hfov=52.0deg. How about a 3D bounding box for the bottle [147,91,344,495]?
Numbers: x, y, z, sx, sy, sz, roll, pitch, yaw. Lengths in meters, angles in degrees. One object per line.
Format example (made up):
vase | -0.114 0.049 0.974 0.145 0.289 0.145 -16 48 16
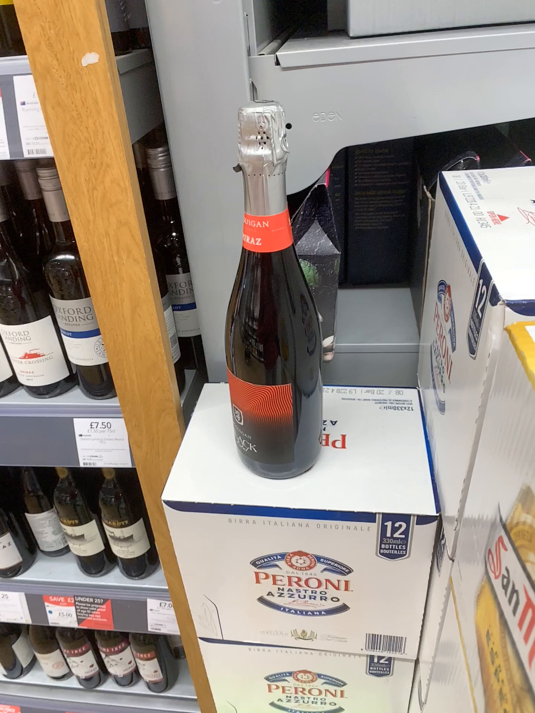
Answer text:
bottle | -0.005 -0.041 0.435 0.094 0.289 0.091 -3 33 2
